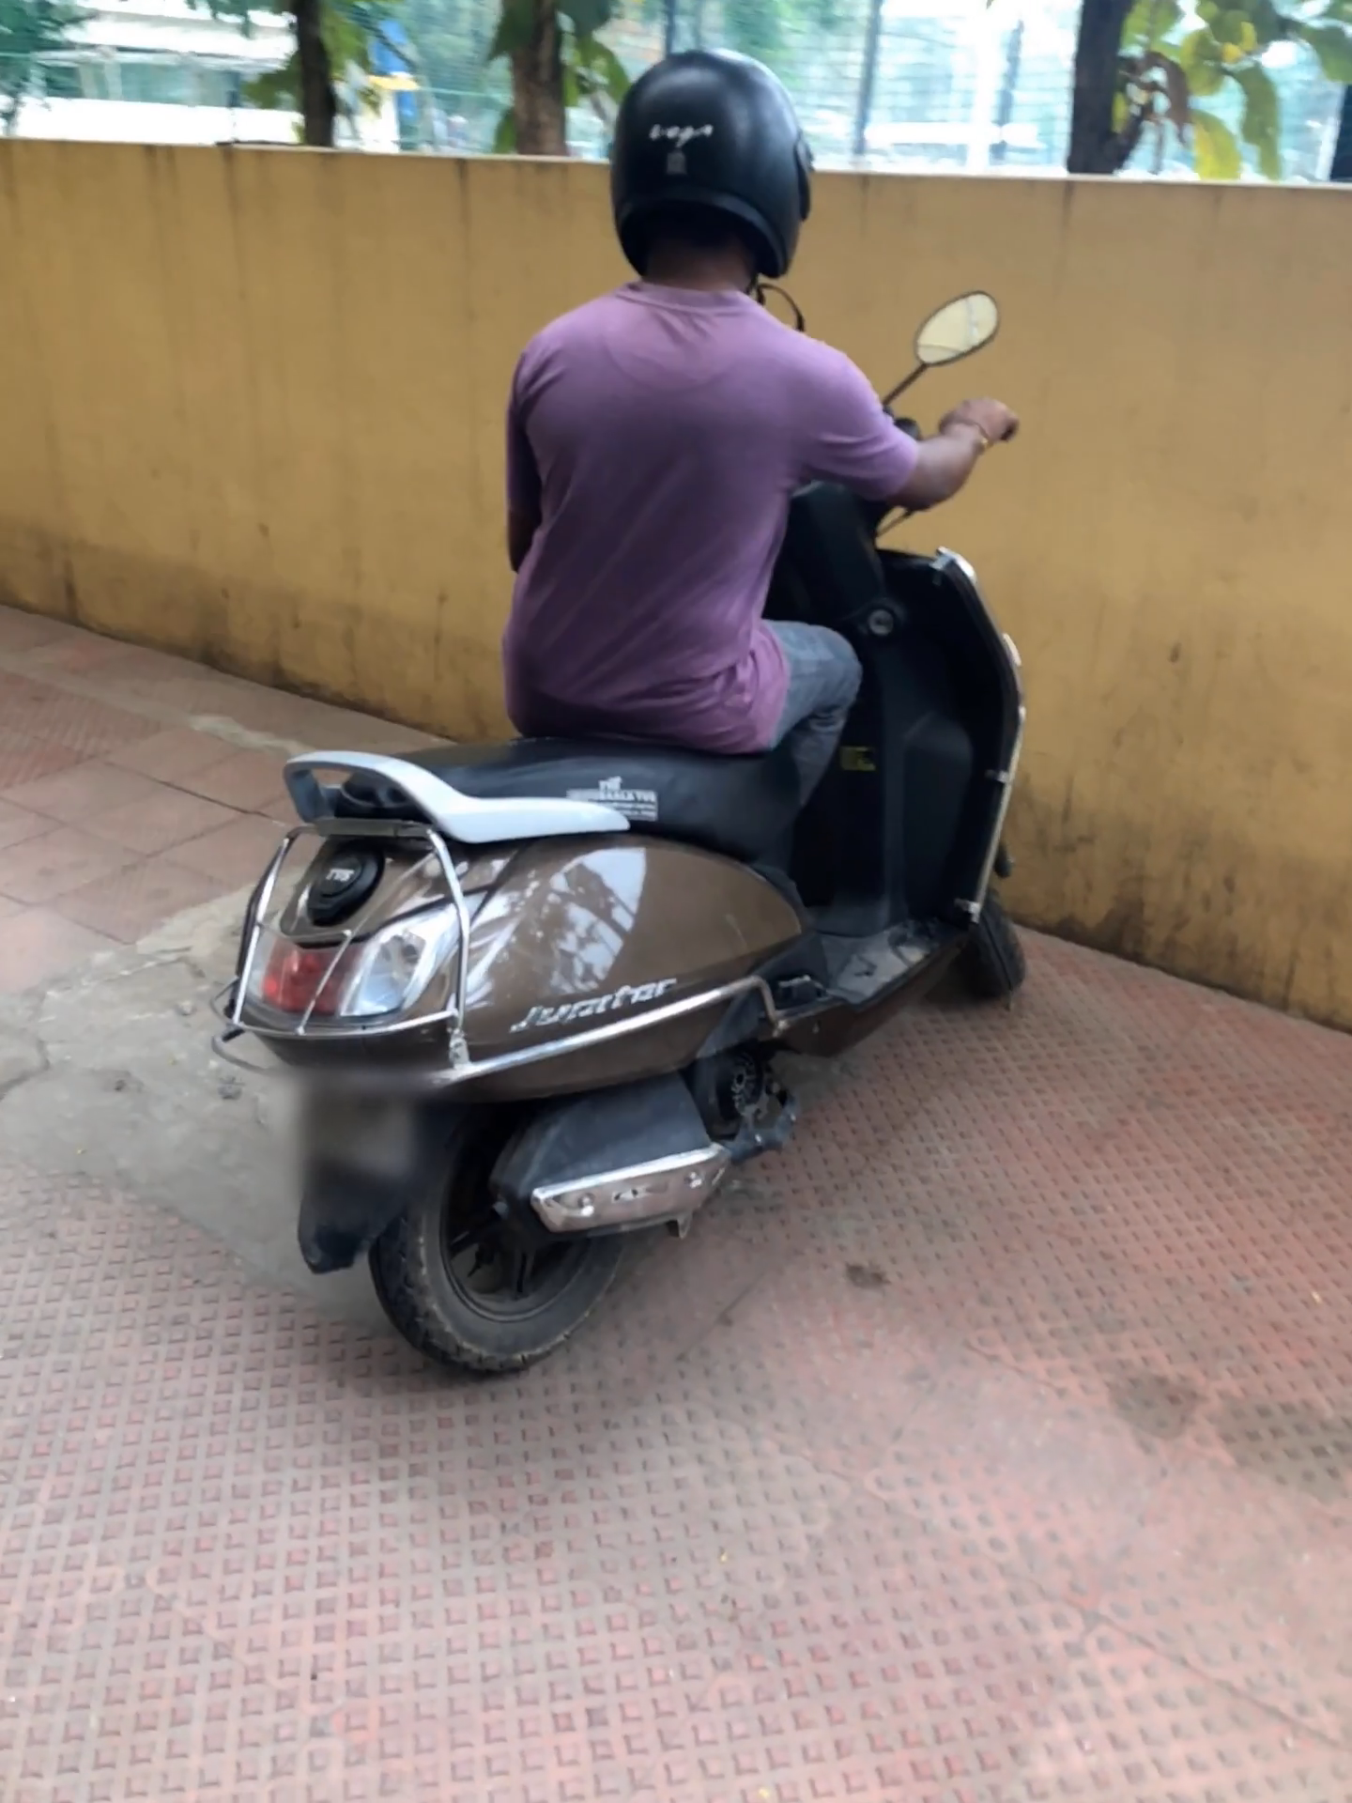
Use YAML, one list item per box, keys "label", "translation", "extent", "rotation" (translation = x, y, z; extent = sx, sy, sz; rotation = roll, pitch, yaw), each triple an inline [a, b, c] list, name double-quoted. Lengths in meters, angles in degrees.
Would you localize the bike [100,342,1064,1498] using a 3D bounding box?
- label: "bike"
  translation: [0.010, -0.200, 2.430]
  extent: [0.644, 1.182, 1.721]
  rotation: [16, 30, 26]
